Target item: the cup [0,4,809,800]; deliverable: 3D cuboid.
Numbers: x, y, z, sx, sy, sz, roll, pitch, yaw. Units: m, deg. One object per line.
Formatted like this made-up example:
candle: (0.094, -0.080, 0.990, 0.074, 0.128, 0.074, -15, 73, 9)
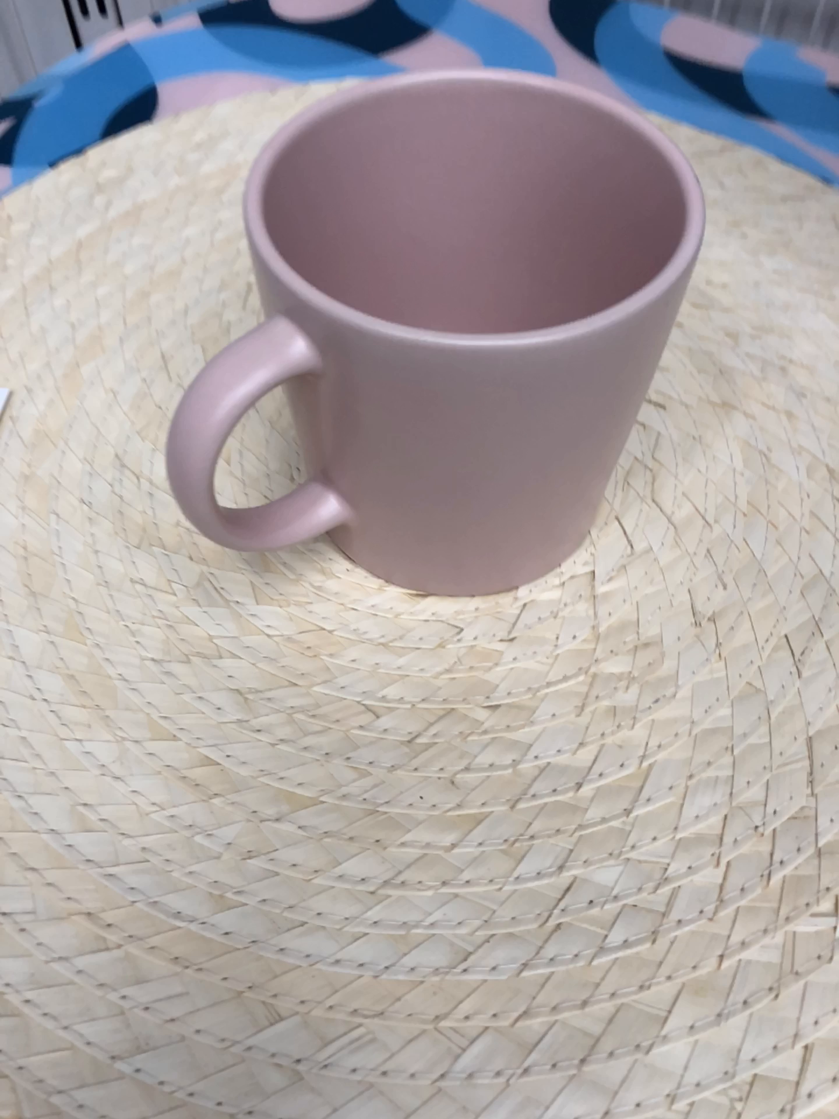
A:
cup: (-0.005, -0.041, 0.213, 0.100, 0.090, 0.130, 38, 62, 25)
